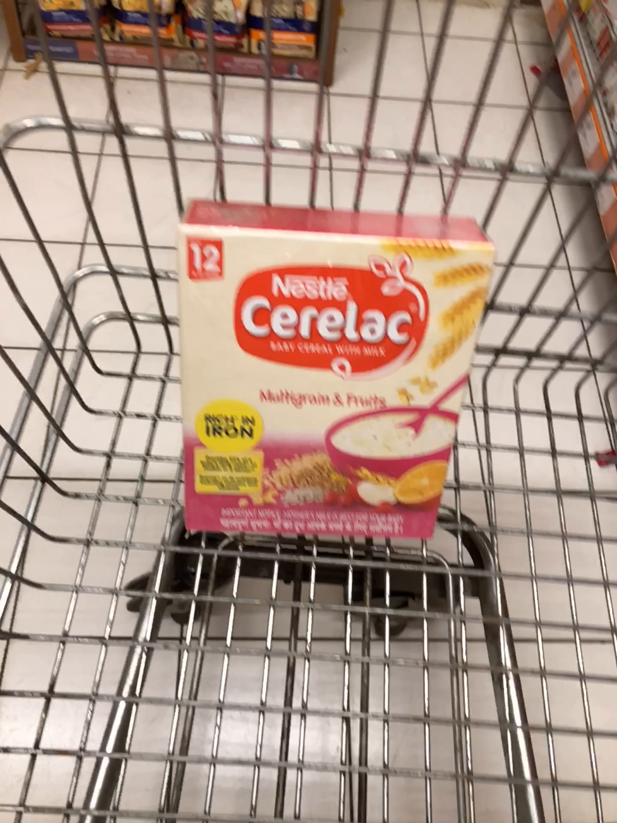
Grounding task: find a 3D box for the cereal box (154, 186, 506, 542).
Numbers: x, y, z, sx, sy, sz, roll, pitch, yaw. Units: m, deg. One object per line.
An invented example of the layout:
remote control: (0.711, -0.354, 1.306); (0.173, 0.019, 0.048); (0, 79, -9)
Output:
cereal box: (0.003, -0.017, 0.379); (0.160, 0.189, 0.050); (3, 33, -4)
